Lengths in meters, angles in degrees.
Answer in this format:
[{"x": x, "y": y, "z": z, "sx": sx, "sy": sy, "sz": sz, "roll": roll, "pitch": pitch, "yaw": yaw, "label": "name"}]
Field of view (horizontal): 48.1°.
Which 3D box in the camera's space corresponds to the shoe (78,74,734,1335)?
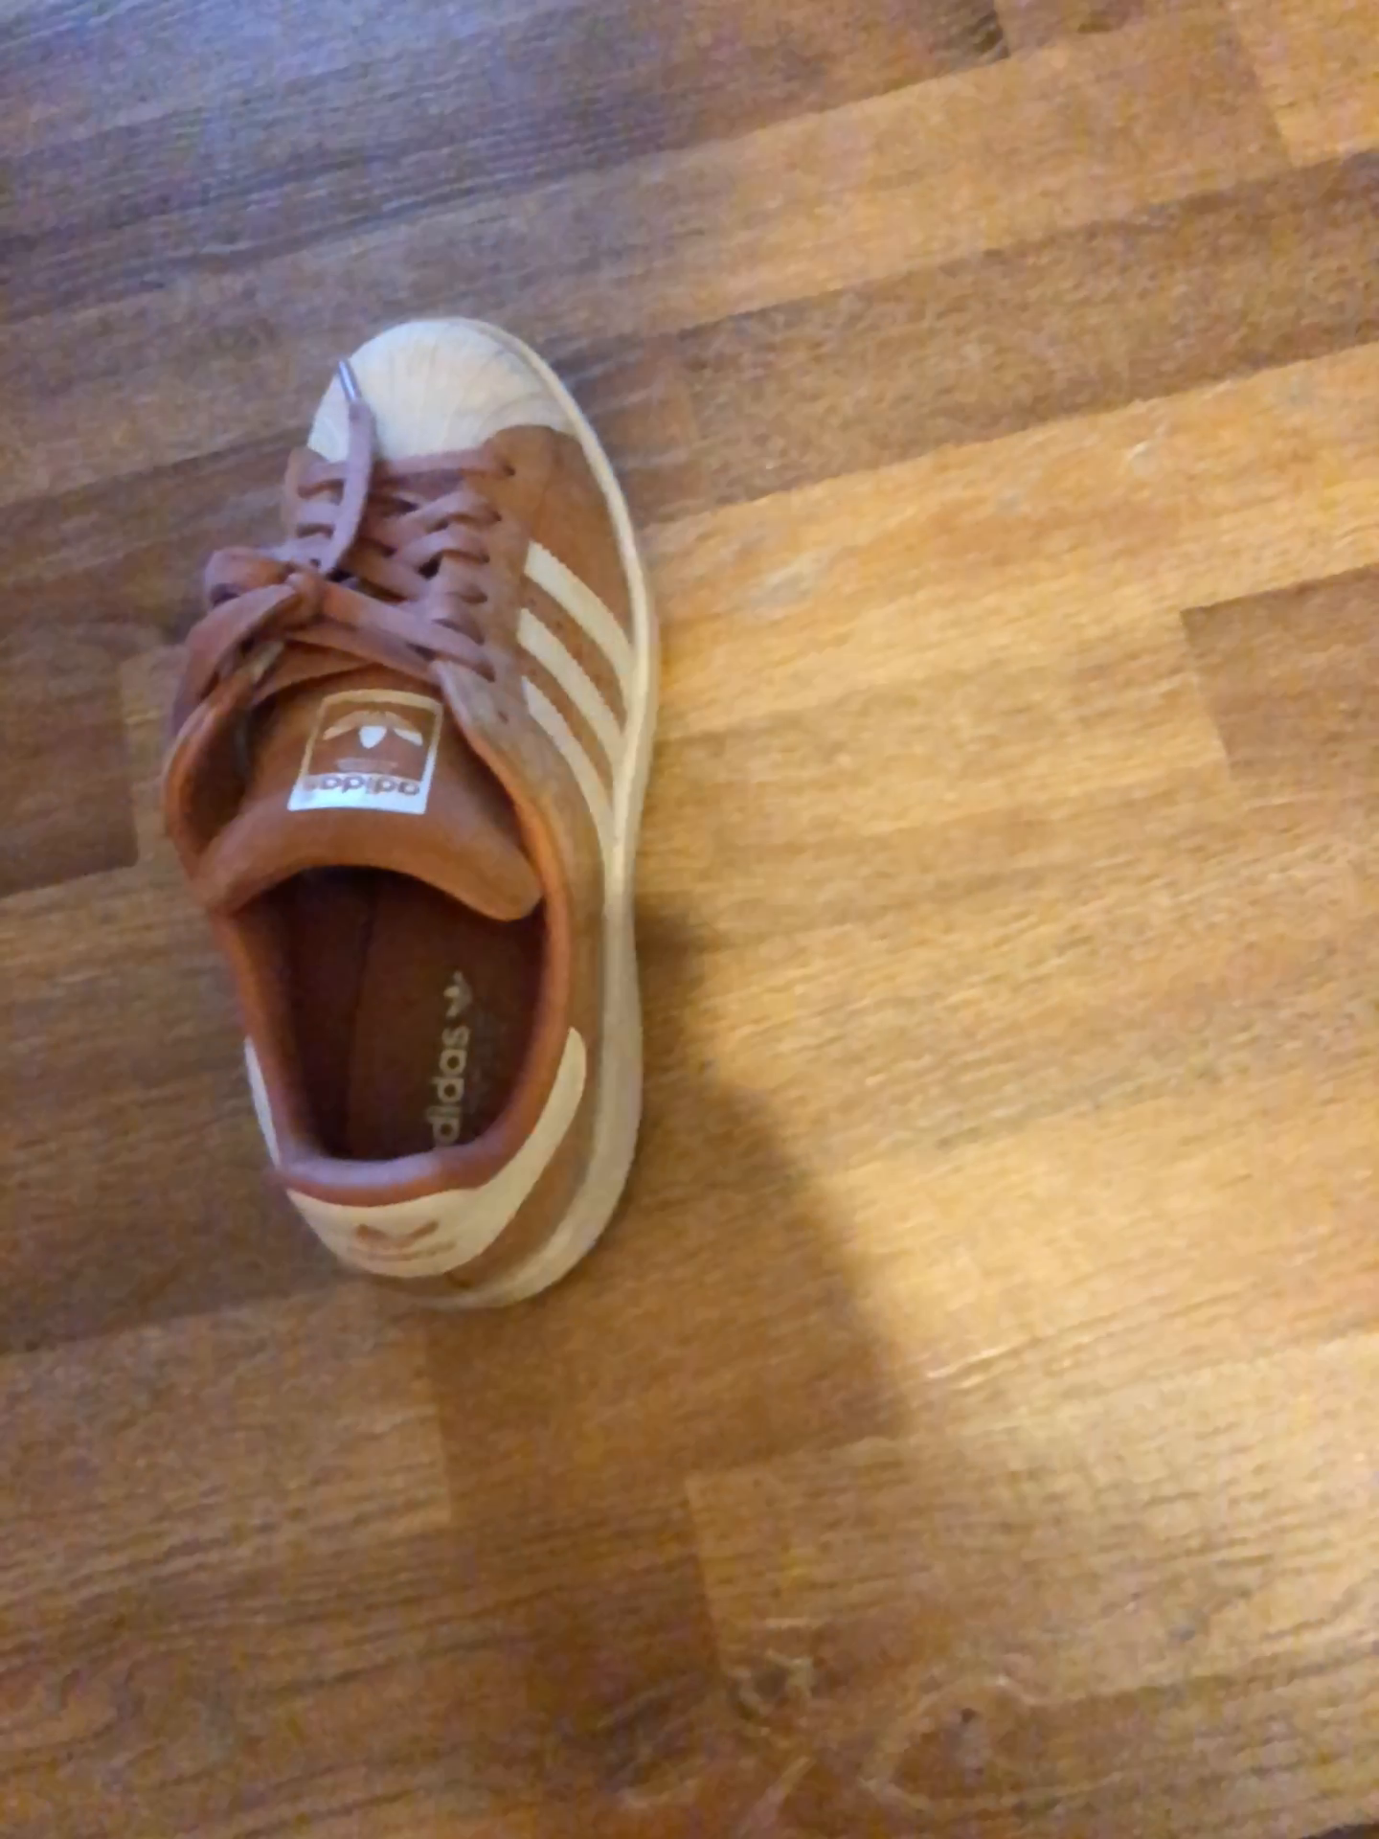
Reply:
[{"x": -0.062, "y": -0.043, "z": 0.363, "sx": 0.110, "sy": 0.110, "sz": 0.261, "roll": -7, "pitch": 73, "yaw": 5, "label": "shoe"}]
